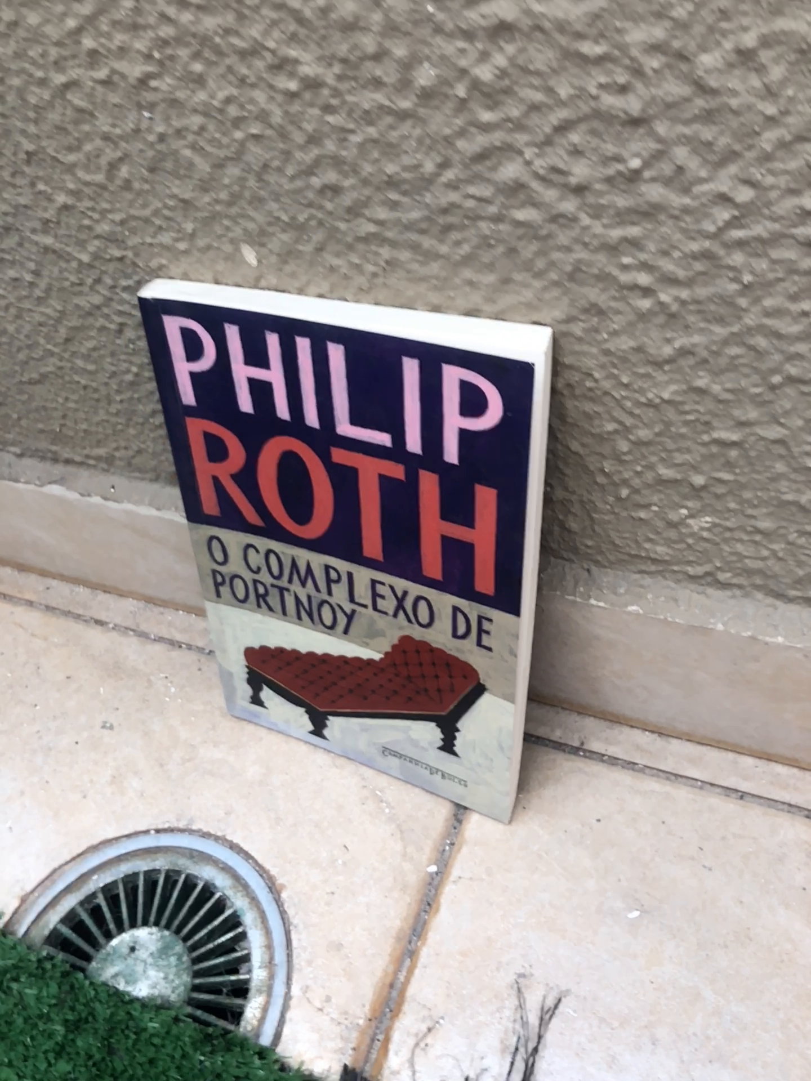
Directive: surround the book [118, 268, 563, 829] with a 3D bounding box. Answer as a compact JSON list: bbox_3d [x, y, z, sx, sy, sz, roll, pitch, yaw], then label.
[{"bbox_3d":[-0.017,0.009,0.298,0.126,0.178,0.023,15,41,23],"label":"book"}]
